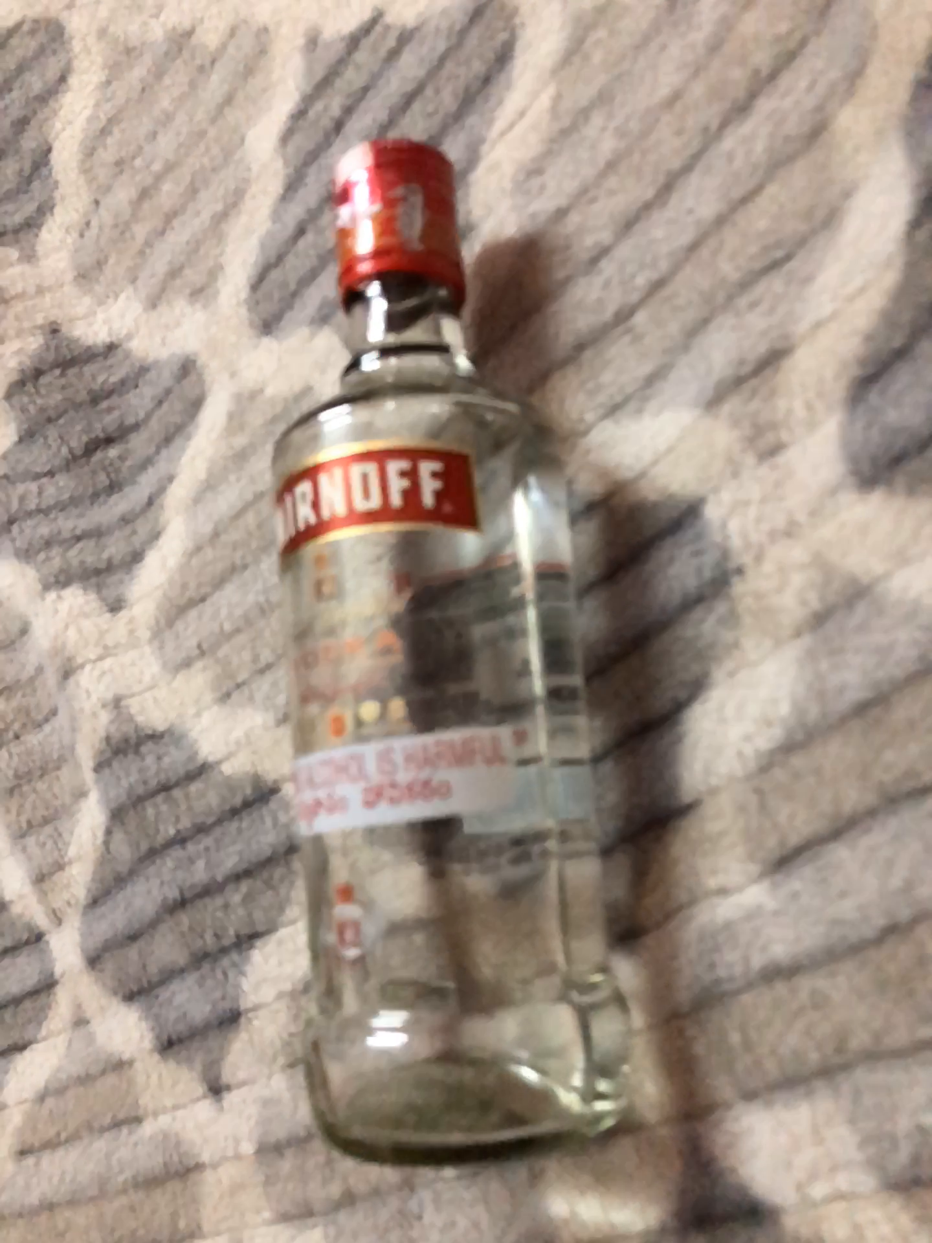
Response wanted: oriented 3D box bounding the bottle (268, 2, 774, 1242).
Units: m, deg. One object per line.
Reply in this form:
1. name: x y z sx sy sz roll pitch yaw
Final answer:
1. bottle: 0.007 -0.004 0.226 0.070 0.060 0.230 -14 74 35
